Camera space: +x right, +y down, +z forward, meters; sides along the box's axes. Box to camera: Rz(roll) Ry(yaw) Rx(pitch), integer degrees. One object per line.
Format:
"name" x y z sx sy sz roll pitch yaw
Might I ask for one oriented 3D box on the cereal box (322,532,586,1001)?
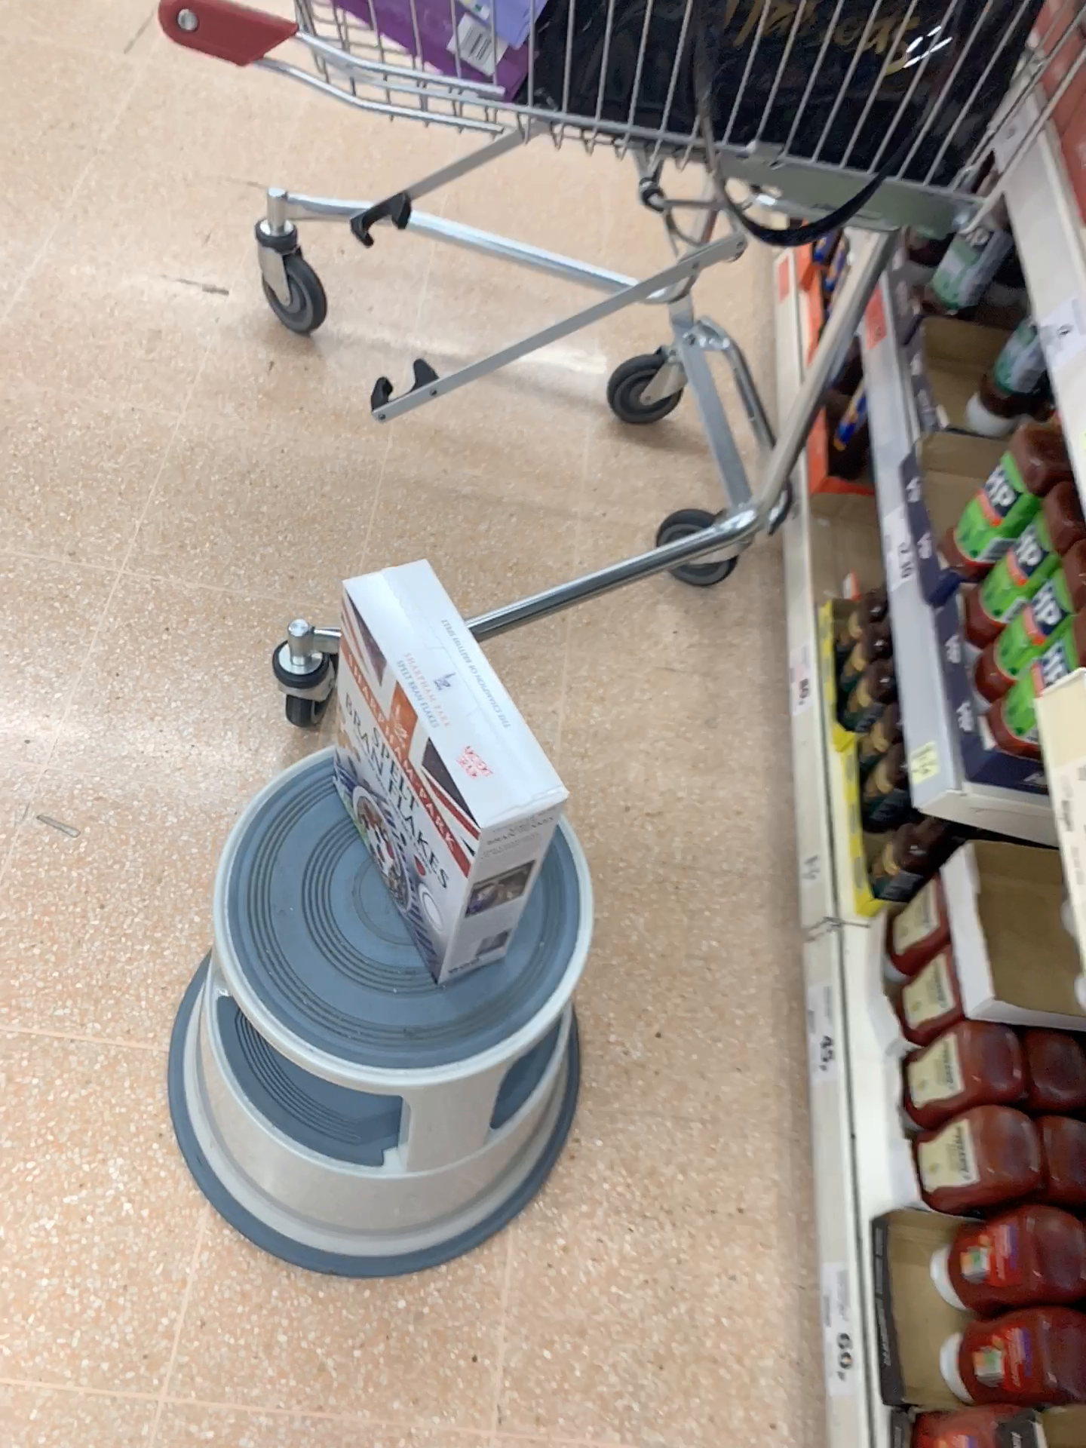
"cereal box" -0.076 0.039 0.748 0.070 0.258 0.201 -20 63 -23
